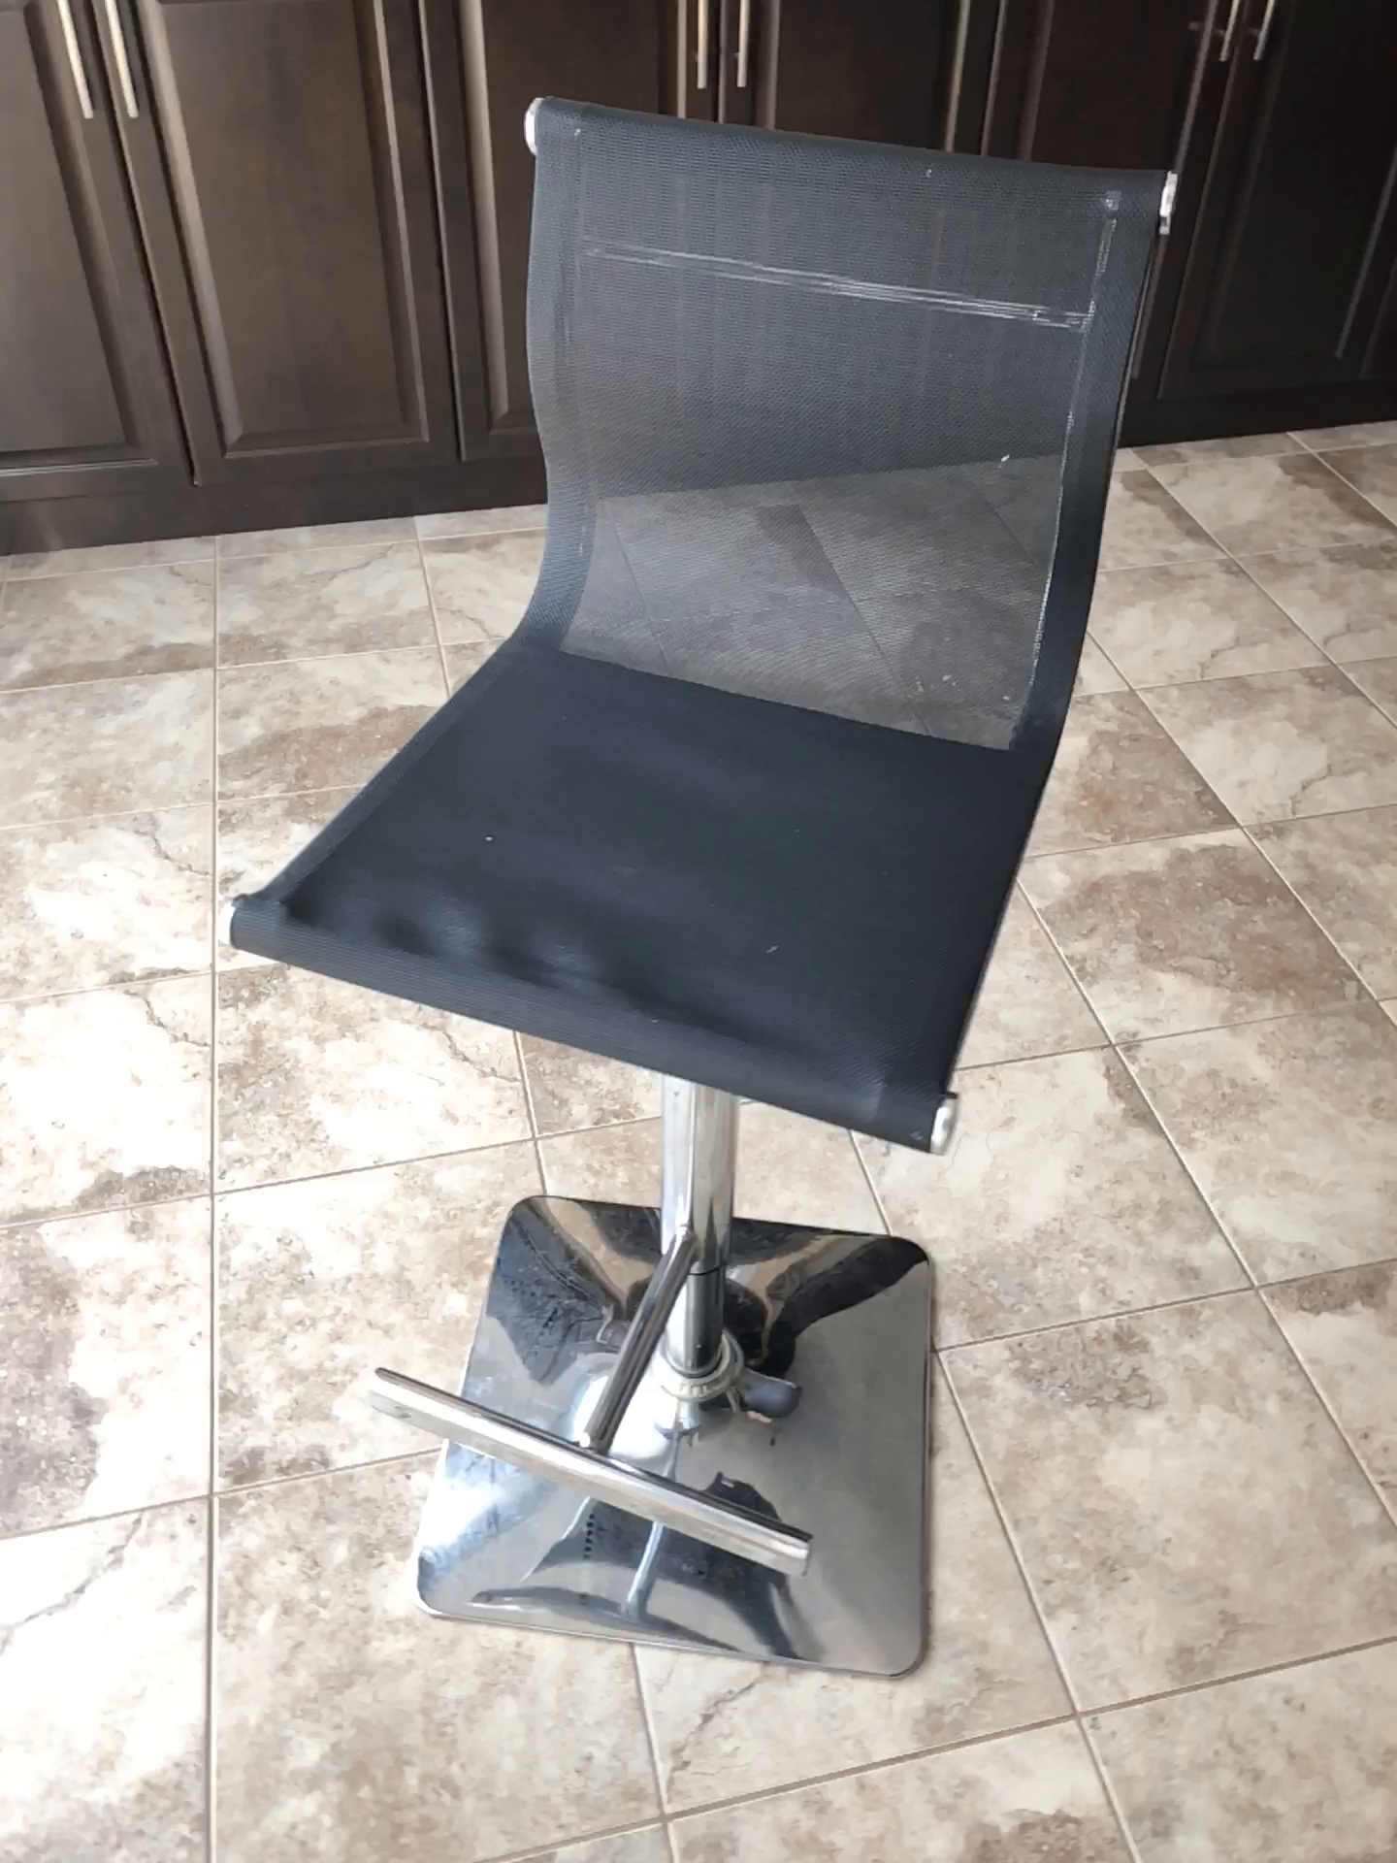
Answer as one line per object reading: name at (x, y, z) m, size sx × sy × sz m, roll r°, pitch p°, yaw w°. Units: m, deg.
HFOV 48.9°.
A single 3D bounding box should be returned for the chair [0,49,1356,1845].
chair at (-0.004, 0.043, 1.033) m, size 0.540 × 0.976 × 0.552 m, roll 15°, pitch 43°, yaw 16°
